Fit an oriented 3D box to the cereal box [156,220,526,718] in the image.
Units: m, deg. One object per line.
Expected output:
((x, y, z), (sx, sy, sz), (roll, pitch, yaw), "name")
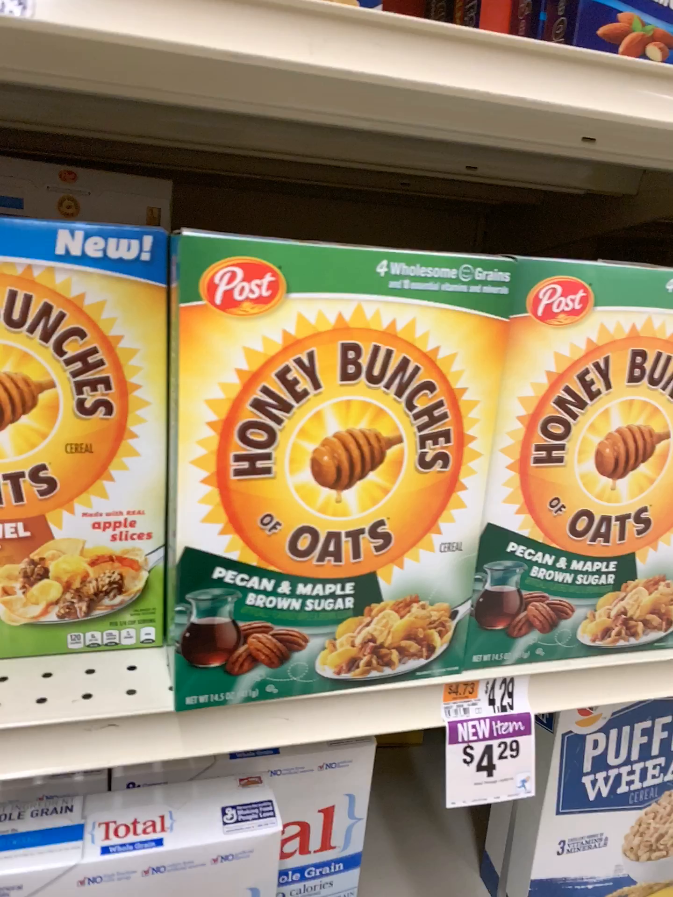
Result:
((-0.006, 0.014, 0.427), (0.200, 0.279, 0.060), (-1, 16, -20), "cereal box")
